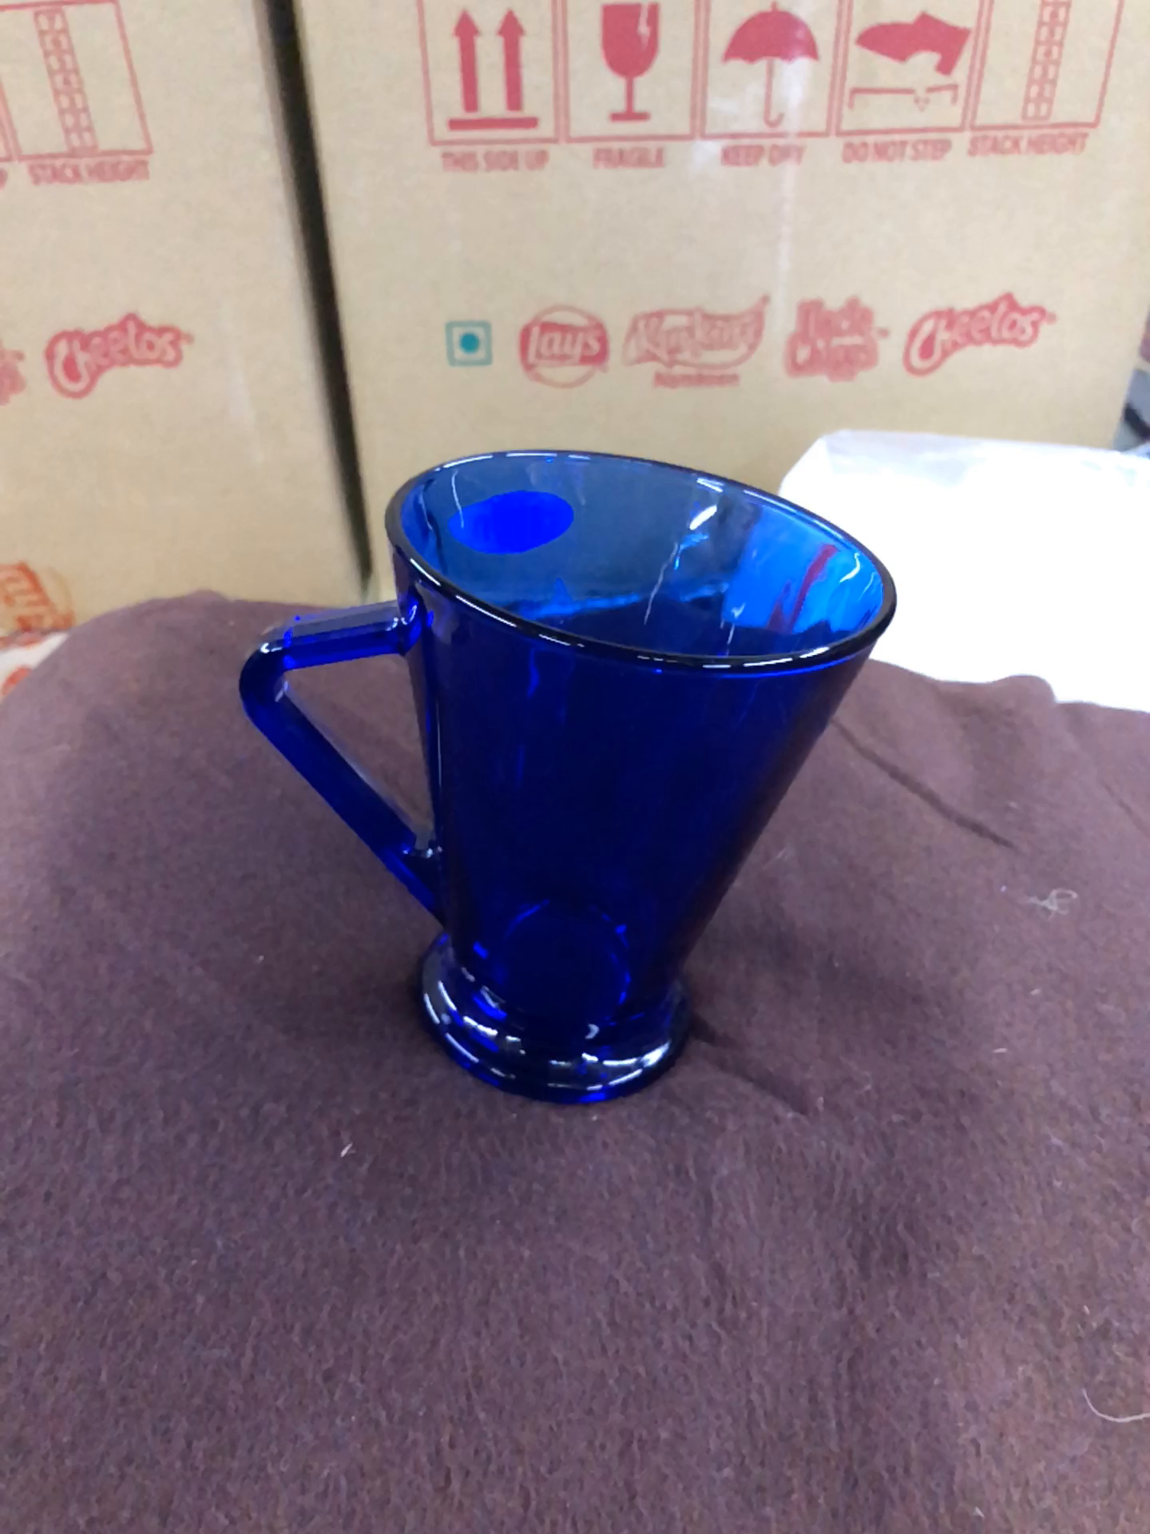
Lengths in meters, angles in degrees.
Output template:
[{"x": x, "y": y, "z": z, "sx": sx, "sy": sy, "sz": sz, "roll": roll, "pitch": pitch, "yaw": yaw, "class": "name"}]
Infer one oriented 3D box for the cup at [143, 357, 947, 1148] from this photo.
[{"x": -0.007, "y": 0.000, "z": 0.236, "sx": 0.110, "sy": 0.109, "sz": 0.070, "roll": 9, "pitch": 40, "yaw": 1, "class": "cup"}]
